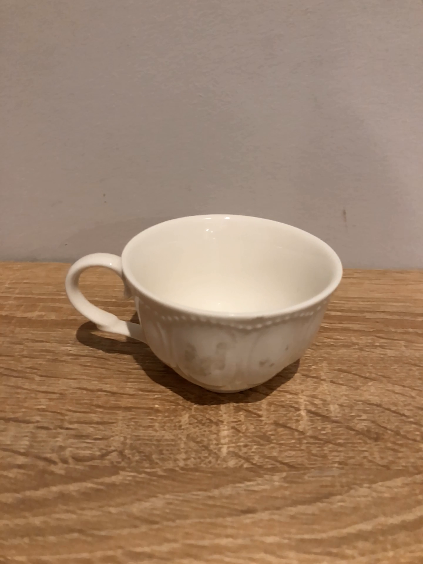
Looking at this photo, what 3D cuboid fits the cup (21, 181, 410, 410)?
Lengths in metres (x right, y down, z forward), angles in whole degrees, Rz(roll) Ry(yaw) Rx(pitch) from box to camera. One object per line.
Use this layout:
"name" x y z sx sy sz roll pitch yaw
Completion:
"cup" 0.000 0.000 0.159 0.100 0.050 0.060 -2 30 -4
